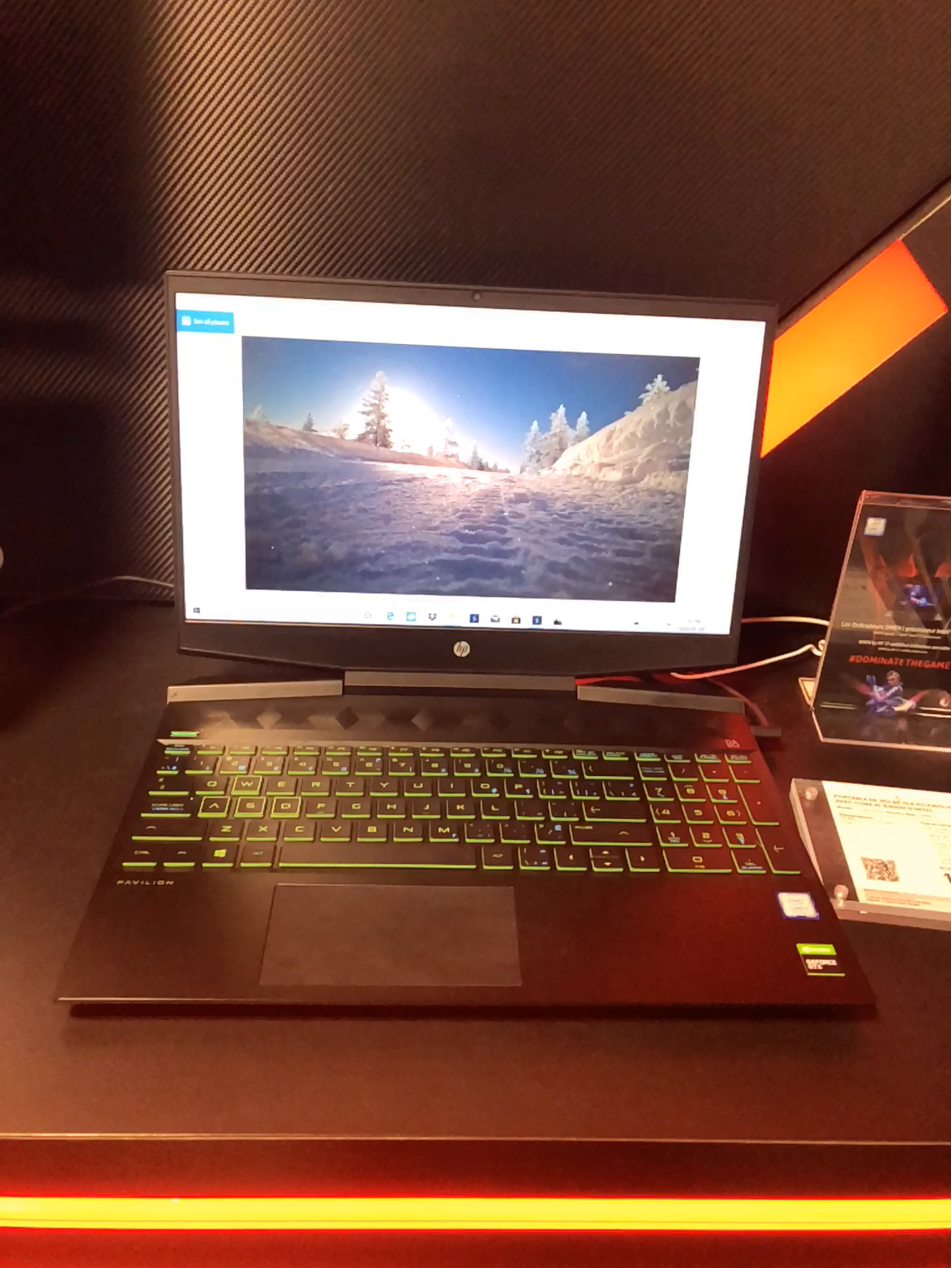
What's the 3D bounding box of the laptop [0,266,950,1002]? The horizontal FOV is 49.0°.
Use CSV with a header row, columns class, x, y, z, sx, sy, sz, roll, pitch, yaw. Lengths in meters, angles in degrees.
class,x,y,z,sx,sy,sz,roll,pitch,yaw
laptop,0.000,-0.028,0.536,0.355,0.240,0.316,1,27,-3
